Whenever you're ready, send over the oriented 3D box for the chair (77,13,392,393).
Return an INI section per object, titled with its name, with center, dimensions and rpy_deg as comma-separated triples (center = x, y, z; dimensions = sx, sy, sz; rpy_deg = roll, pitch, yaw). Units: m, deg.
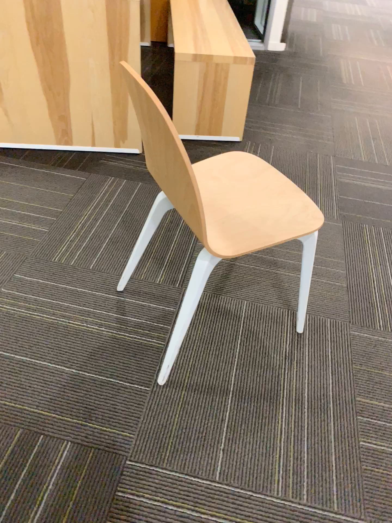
[chair]
center = 0.068, -0.142, 1.101
dimensions = 0.570, 0.825, 0.462
rpy_deg = -16, 48, -21
